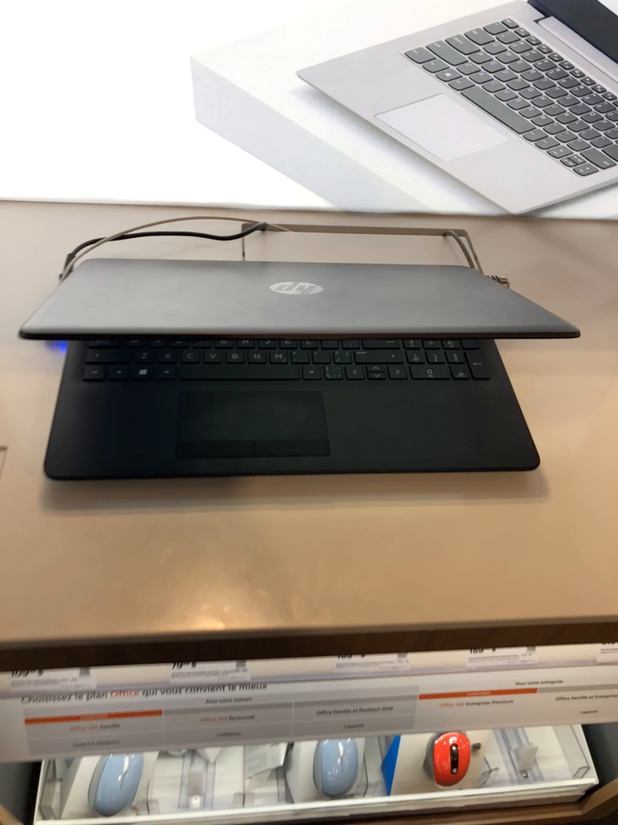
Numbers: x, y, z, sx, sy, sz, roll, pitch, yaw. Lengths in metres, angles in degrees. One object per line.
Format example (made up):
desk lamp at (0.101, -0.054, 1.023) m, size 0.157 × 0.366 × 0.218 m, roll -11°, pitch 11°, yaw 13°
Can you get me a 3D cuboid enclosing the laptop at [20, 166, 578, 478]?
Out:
laptop at (-0.013, -0.079, 0.543) m, size 0.351 × 0.107 × 0.239 m, roll 0°, pitch 49°, yaw -6°
